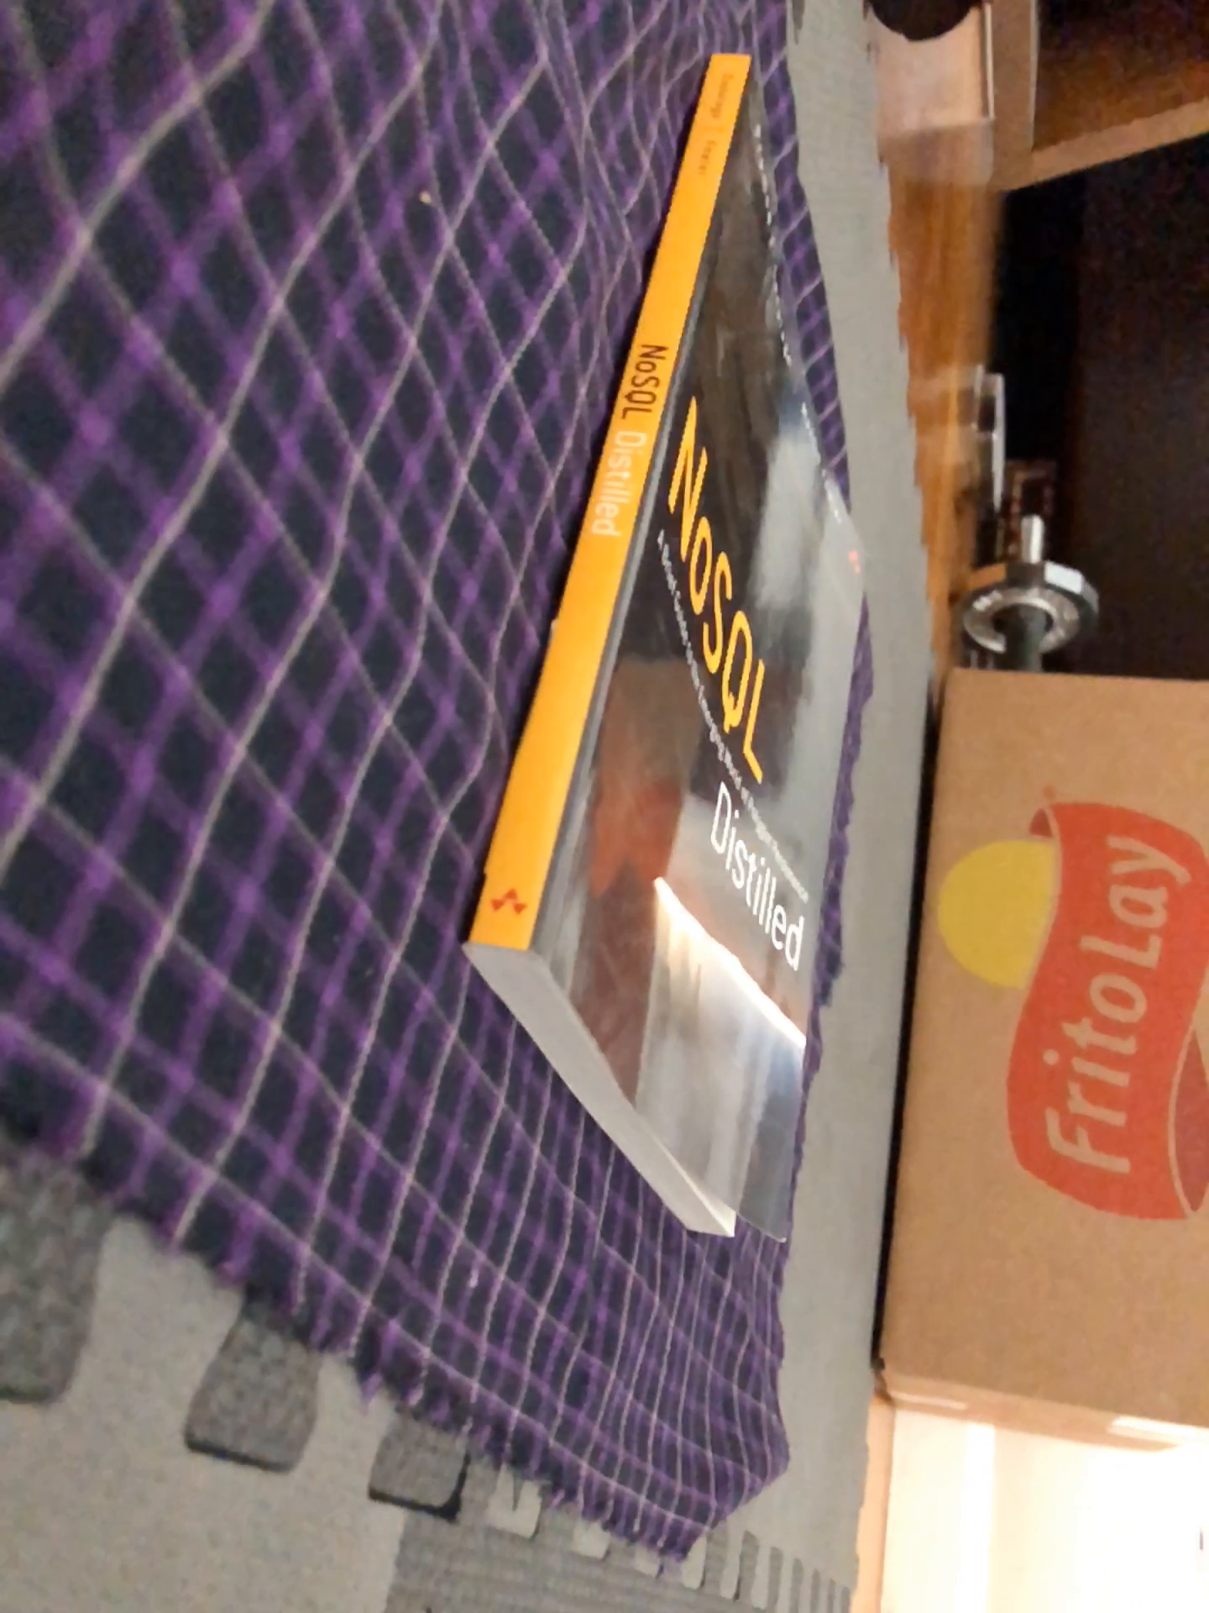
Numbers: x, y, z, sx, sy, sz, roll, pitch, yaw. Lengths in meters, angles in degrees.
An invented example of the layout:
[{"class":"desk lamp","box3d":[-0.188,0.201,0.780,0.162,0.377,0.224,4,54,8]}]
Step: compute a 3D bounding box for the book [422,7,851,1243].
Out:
[{"class":"book","box3d":[0.030,-0.039,0.347,0.190,0.020,0.250,62,34,-54]}]
